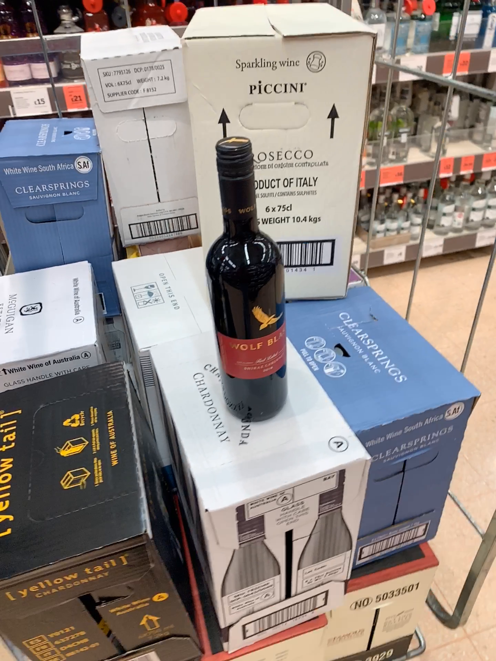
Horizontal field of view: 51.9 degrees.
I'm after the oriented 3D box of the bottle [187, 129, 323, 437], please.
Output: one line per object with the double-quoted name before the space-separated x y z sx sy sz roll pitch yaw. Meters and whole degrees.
"bottle" 0.008 -0.034 0.478 0.080 0.270 0.076 -1 36 1
